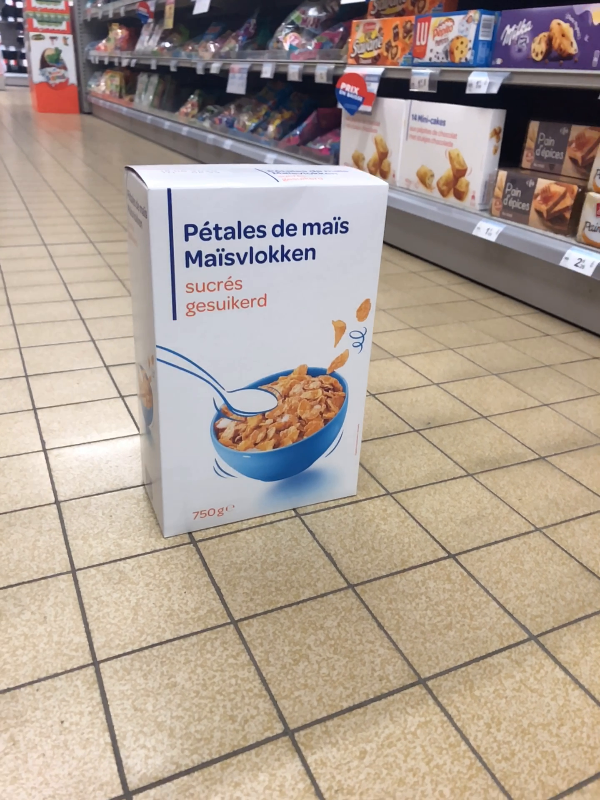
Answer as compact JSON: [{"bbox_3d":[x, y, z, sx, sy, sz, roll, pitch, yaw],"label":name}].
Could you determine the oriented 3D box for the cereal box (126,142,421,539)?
[{"bbox_3d":[-0.030,-0.054,0.568,0.201,0.298,0.110,-7,27,-22],"label":"cereal box"}]
